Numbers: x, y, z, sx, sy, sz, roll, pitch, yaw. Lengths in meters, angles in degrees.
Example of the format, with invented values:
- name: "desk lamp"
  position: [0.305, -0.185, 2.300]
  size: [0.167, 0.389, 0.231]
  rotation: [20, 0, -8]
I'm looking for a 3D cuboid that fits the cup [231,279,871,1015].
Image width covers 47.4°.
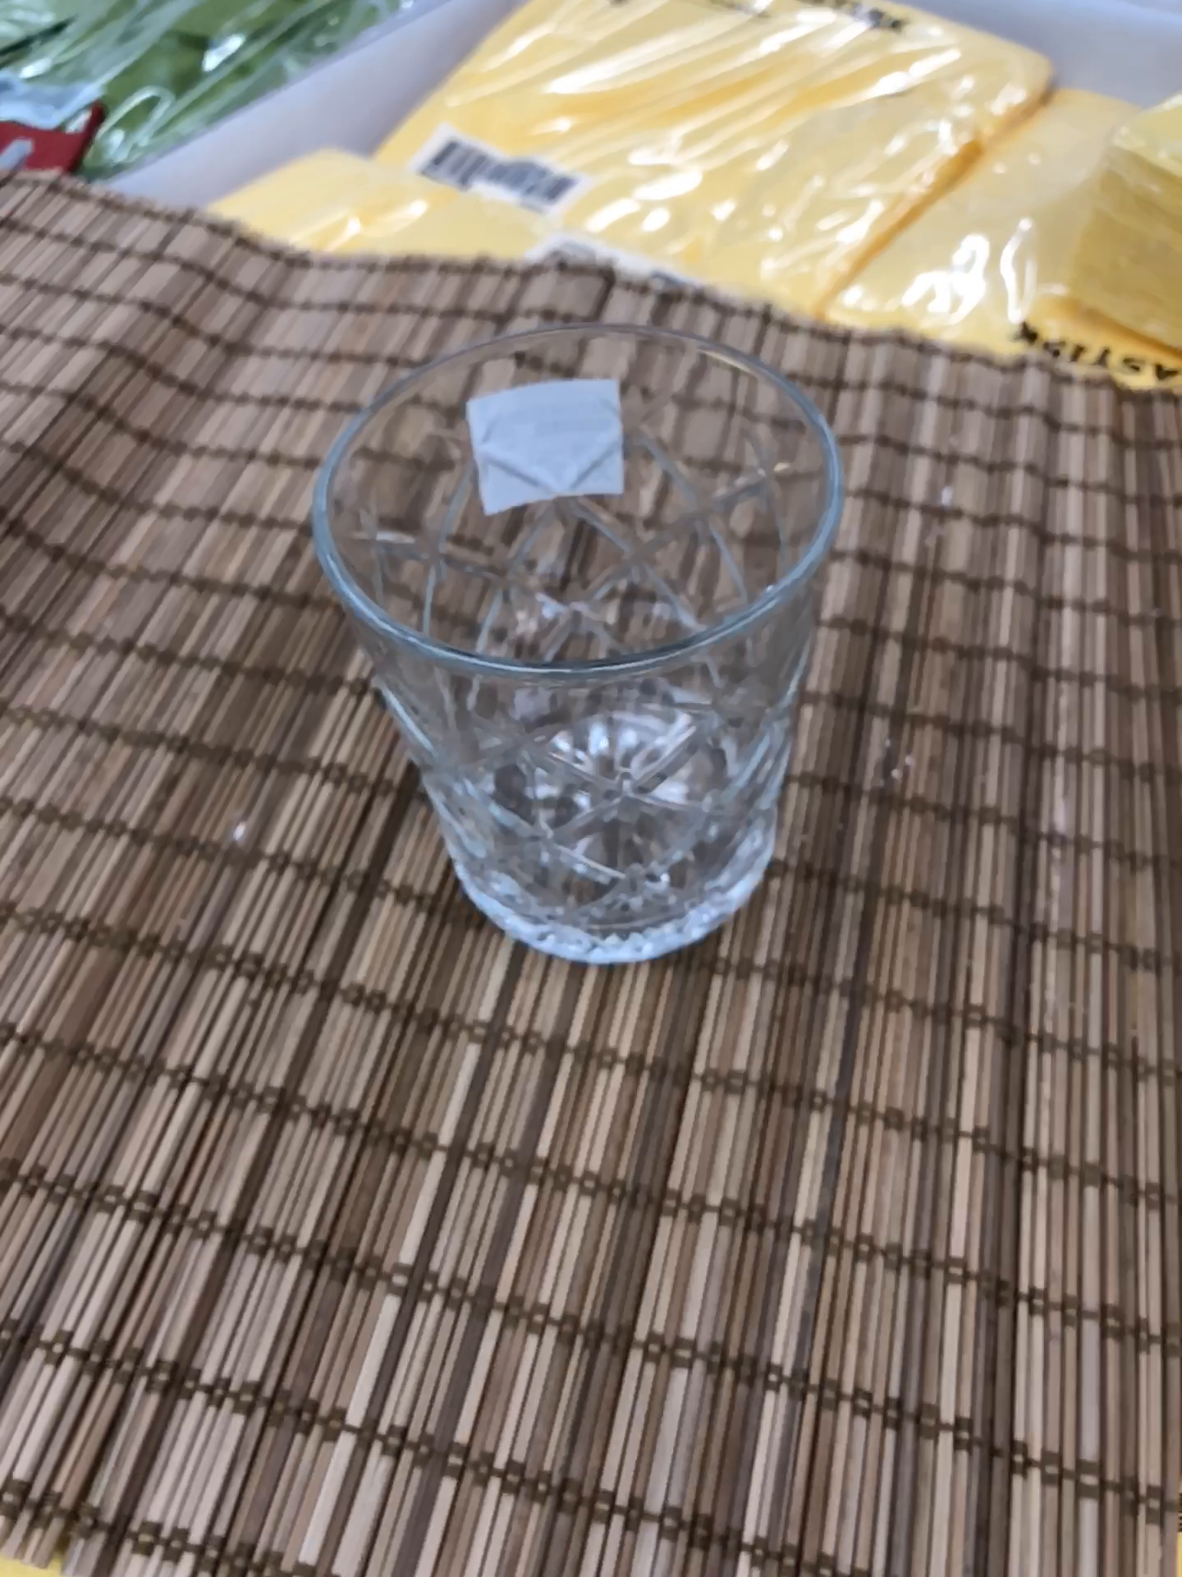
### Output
- name: "cup"
  position: [-0.002, -0.022, 0.227]
  size: [0.080, 0.090, 0.080]
  rotation: [-1, 50, 1]
